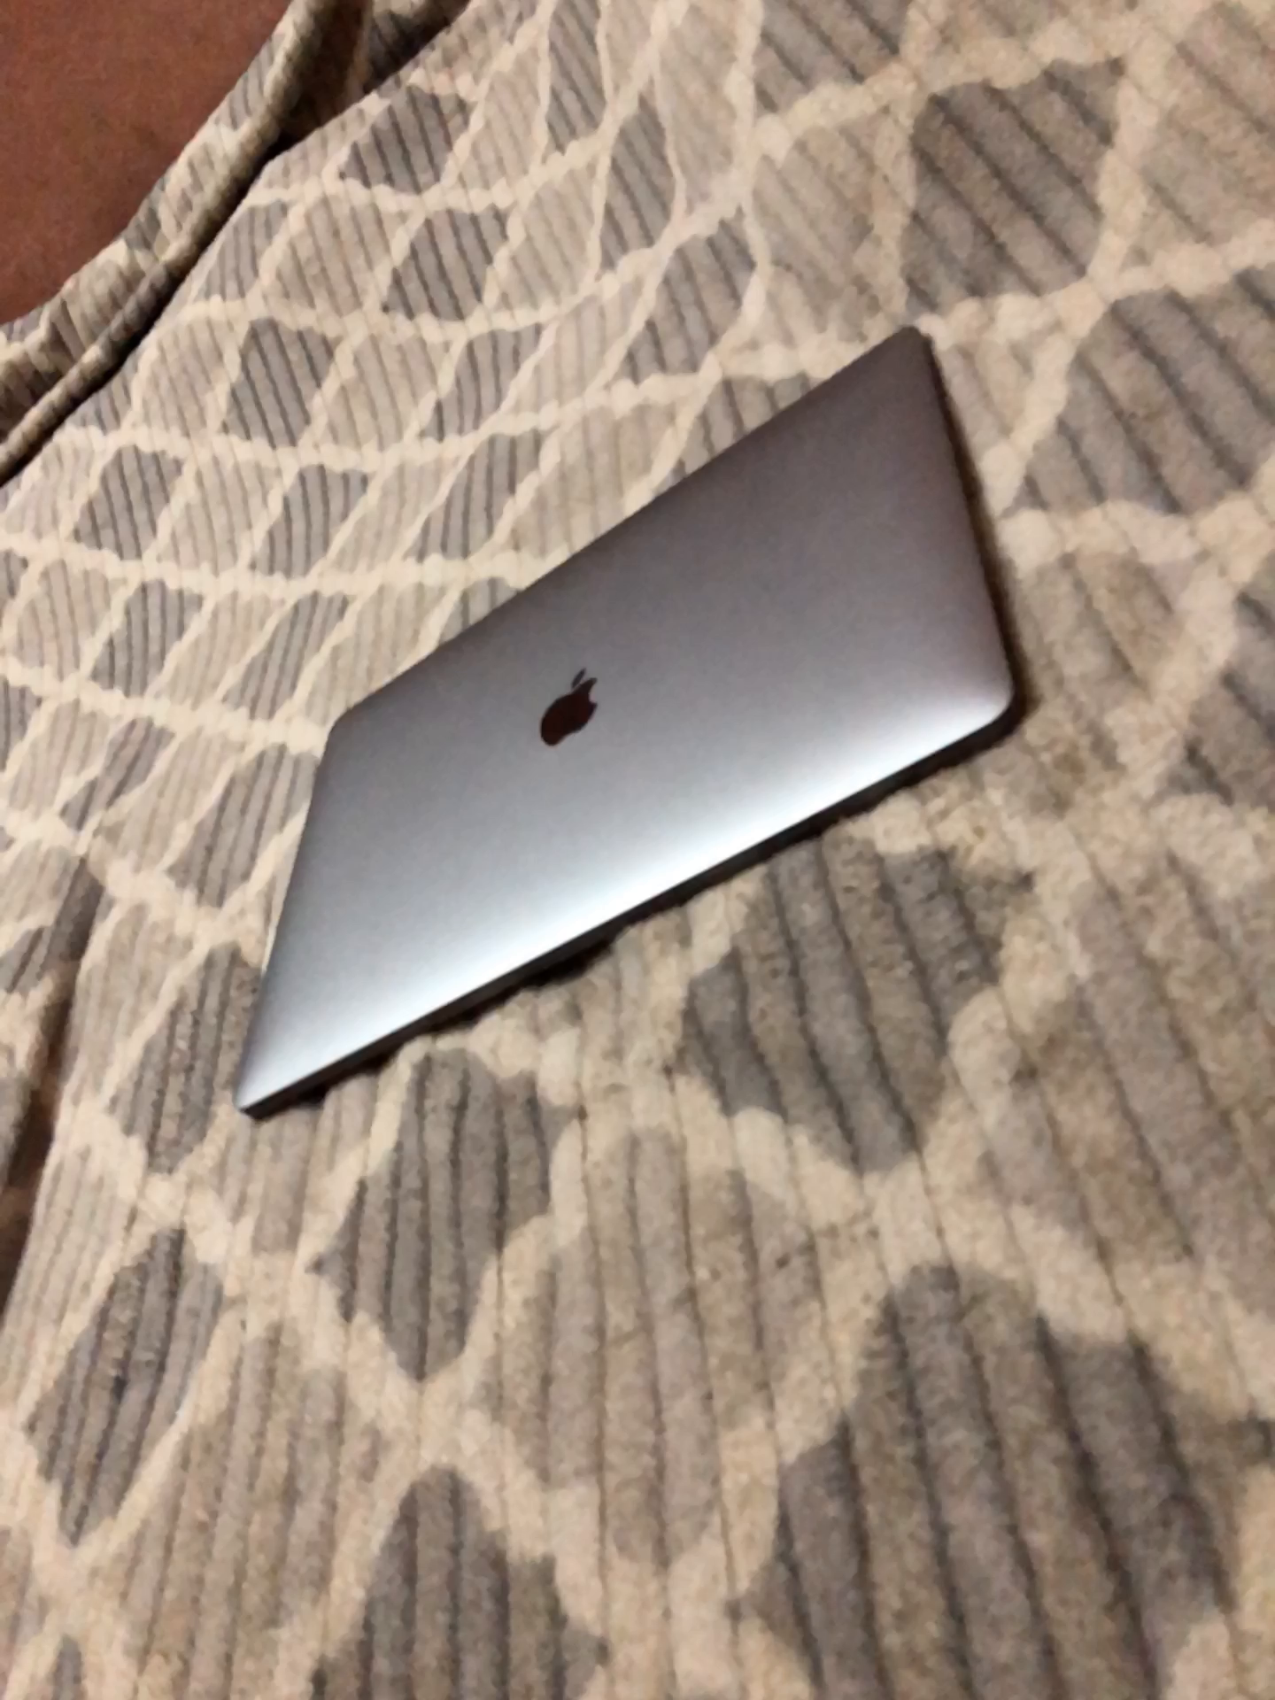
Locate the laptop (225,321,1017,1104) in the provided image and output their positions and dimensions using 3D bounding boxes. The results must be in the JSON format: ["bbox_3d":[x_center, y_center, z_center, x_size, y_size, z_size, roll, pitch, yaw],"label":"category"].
[{"bbox_3d":[-0.028,-0.057,0.580,0.358,0.007,0.246,-28,38,28],"label":"laptop"}]
